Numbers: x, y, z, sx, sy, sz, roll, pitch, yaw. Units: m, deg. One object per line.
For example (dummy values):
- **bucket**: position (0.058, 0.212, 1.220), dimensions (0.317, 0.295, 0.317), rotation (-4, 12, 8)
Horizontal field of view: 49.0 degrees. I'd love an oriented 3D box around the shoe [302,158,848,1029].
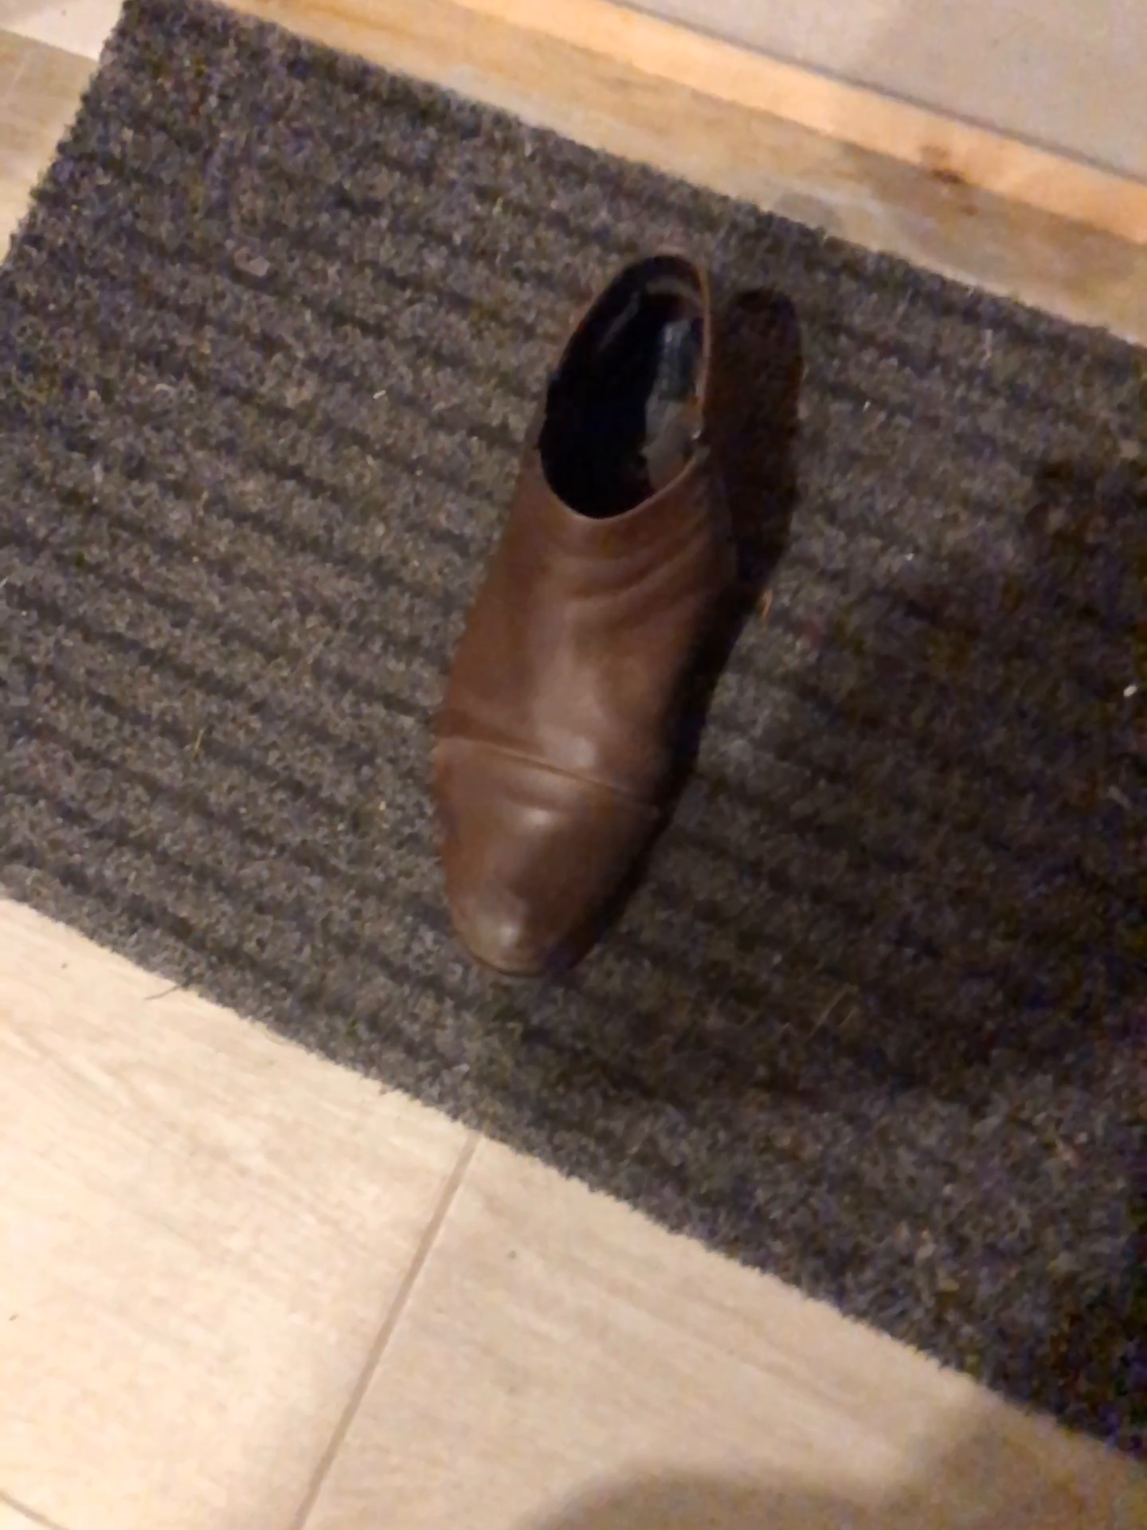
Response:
- **shoe**: position (0.009, -0.061, 0.514), dimensions (0.110, 0.130, 0.300), rotation (17, 85, 8)
